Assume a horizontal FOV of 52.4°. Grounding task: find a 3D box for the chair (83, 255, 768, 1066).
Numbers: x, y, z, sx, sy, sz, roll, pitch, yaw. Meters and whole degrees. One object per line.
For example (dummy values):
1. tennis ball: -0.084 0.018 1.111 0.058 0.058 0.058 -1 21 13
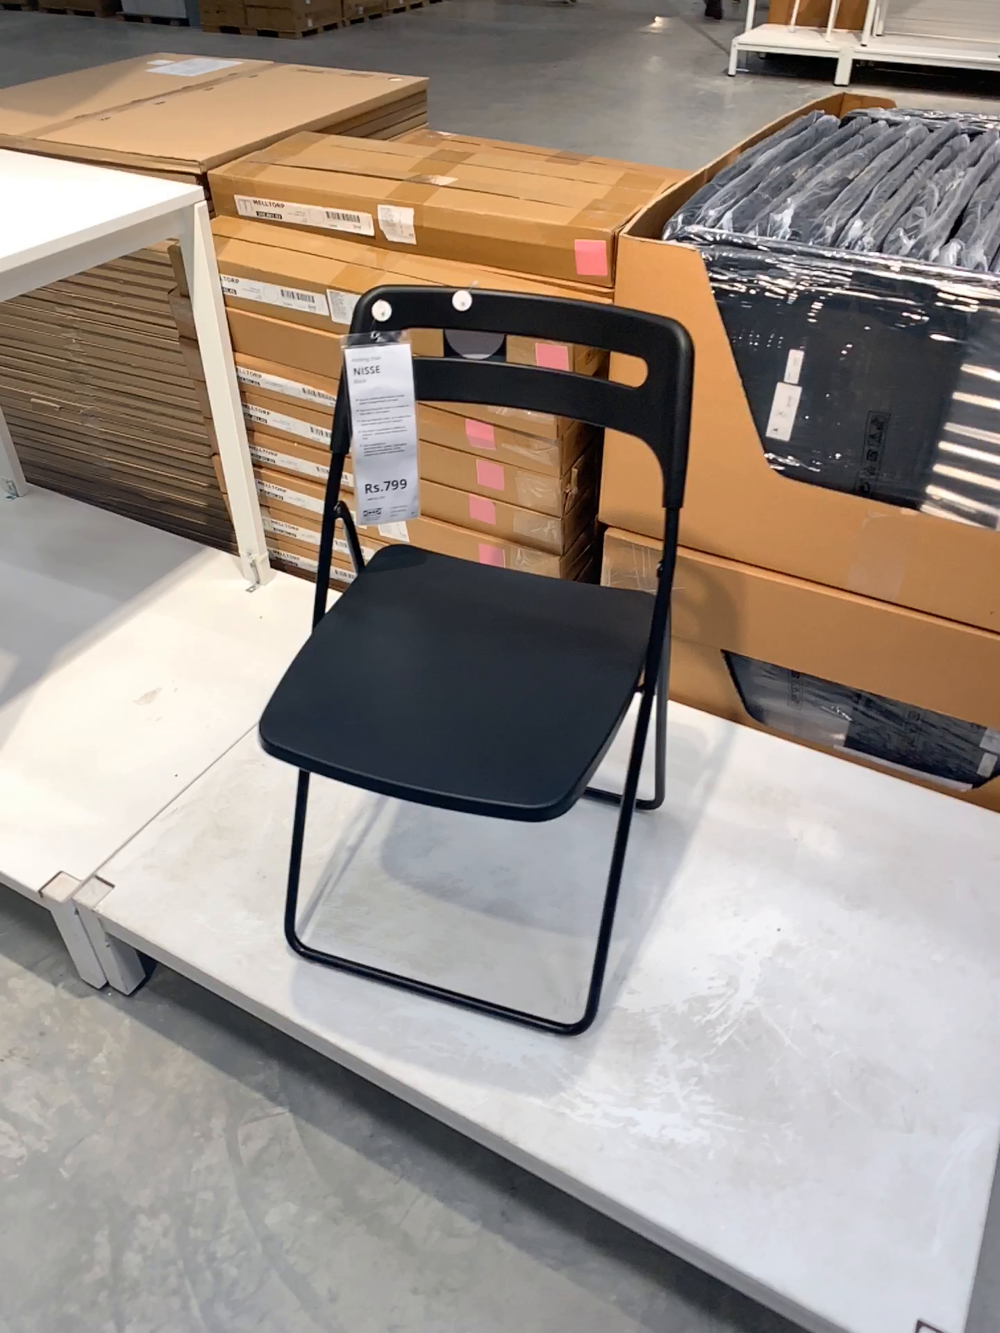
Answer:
1. chair: -0.027 -0.014 1.093 0.460 0.657 0.452 12 41 15
